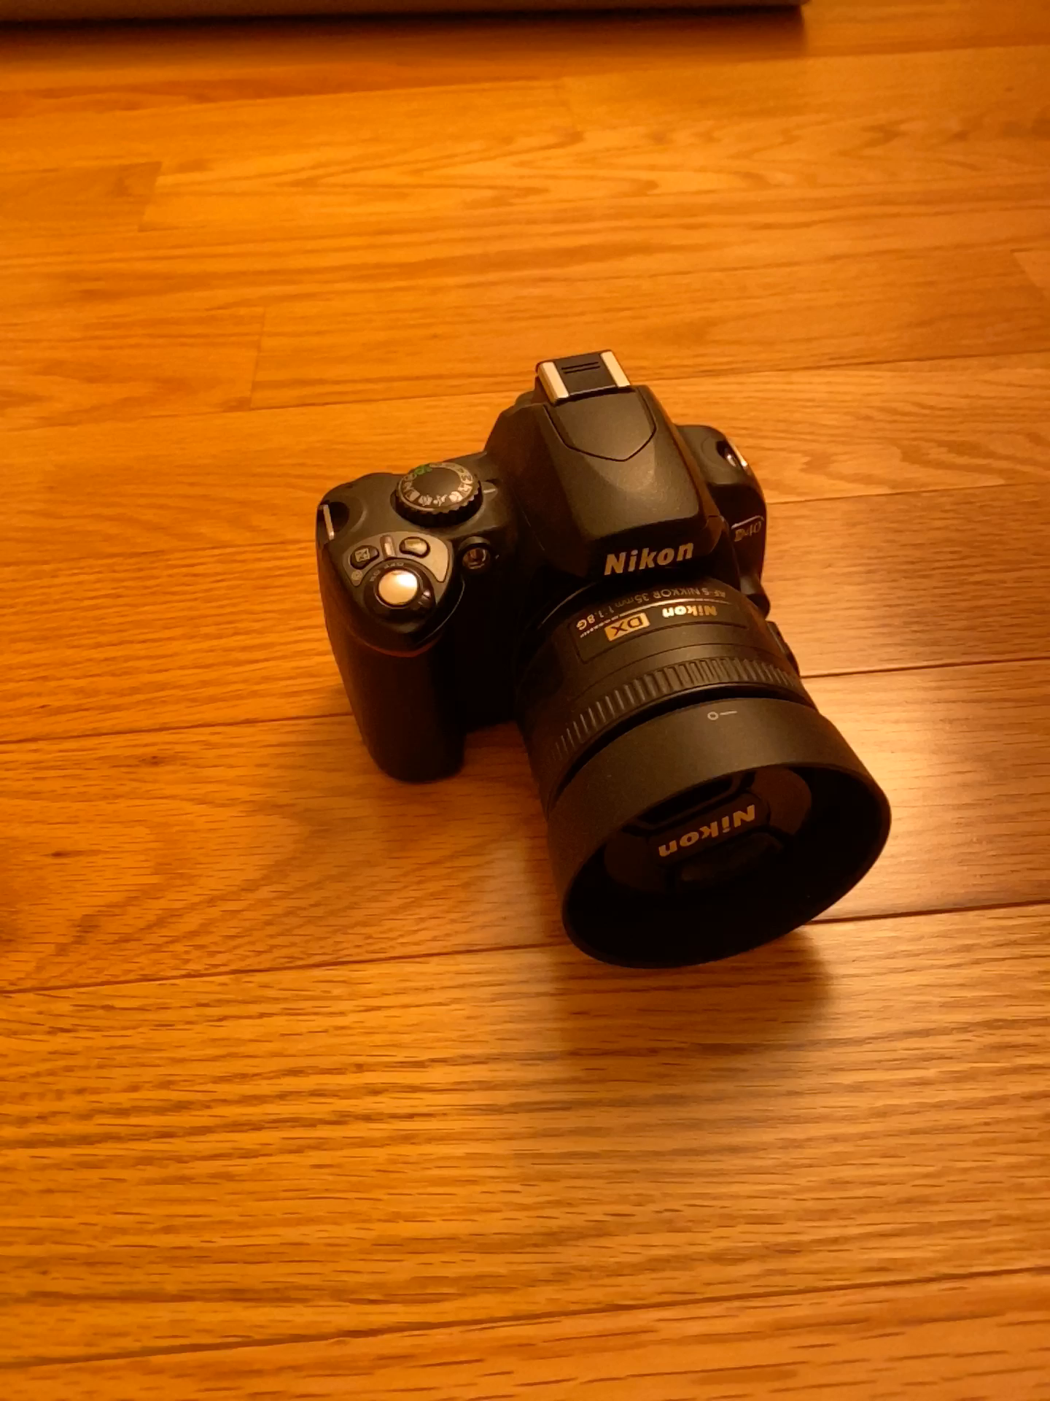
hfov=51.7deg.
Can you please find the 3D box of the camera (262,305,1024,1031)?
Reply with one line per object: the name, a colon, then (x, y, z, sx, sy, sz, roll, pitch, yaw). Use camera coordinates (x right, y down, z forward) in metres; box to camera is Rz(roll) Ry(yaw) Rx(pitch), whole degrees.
camera: (0.014, -0.016, 0.267, 0.130, 0.080, 0.141, -12, 49, -7)
